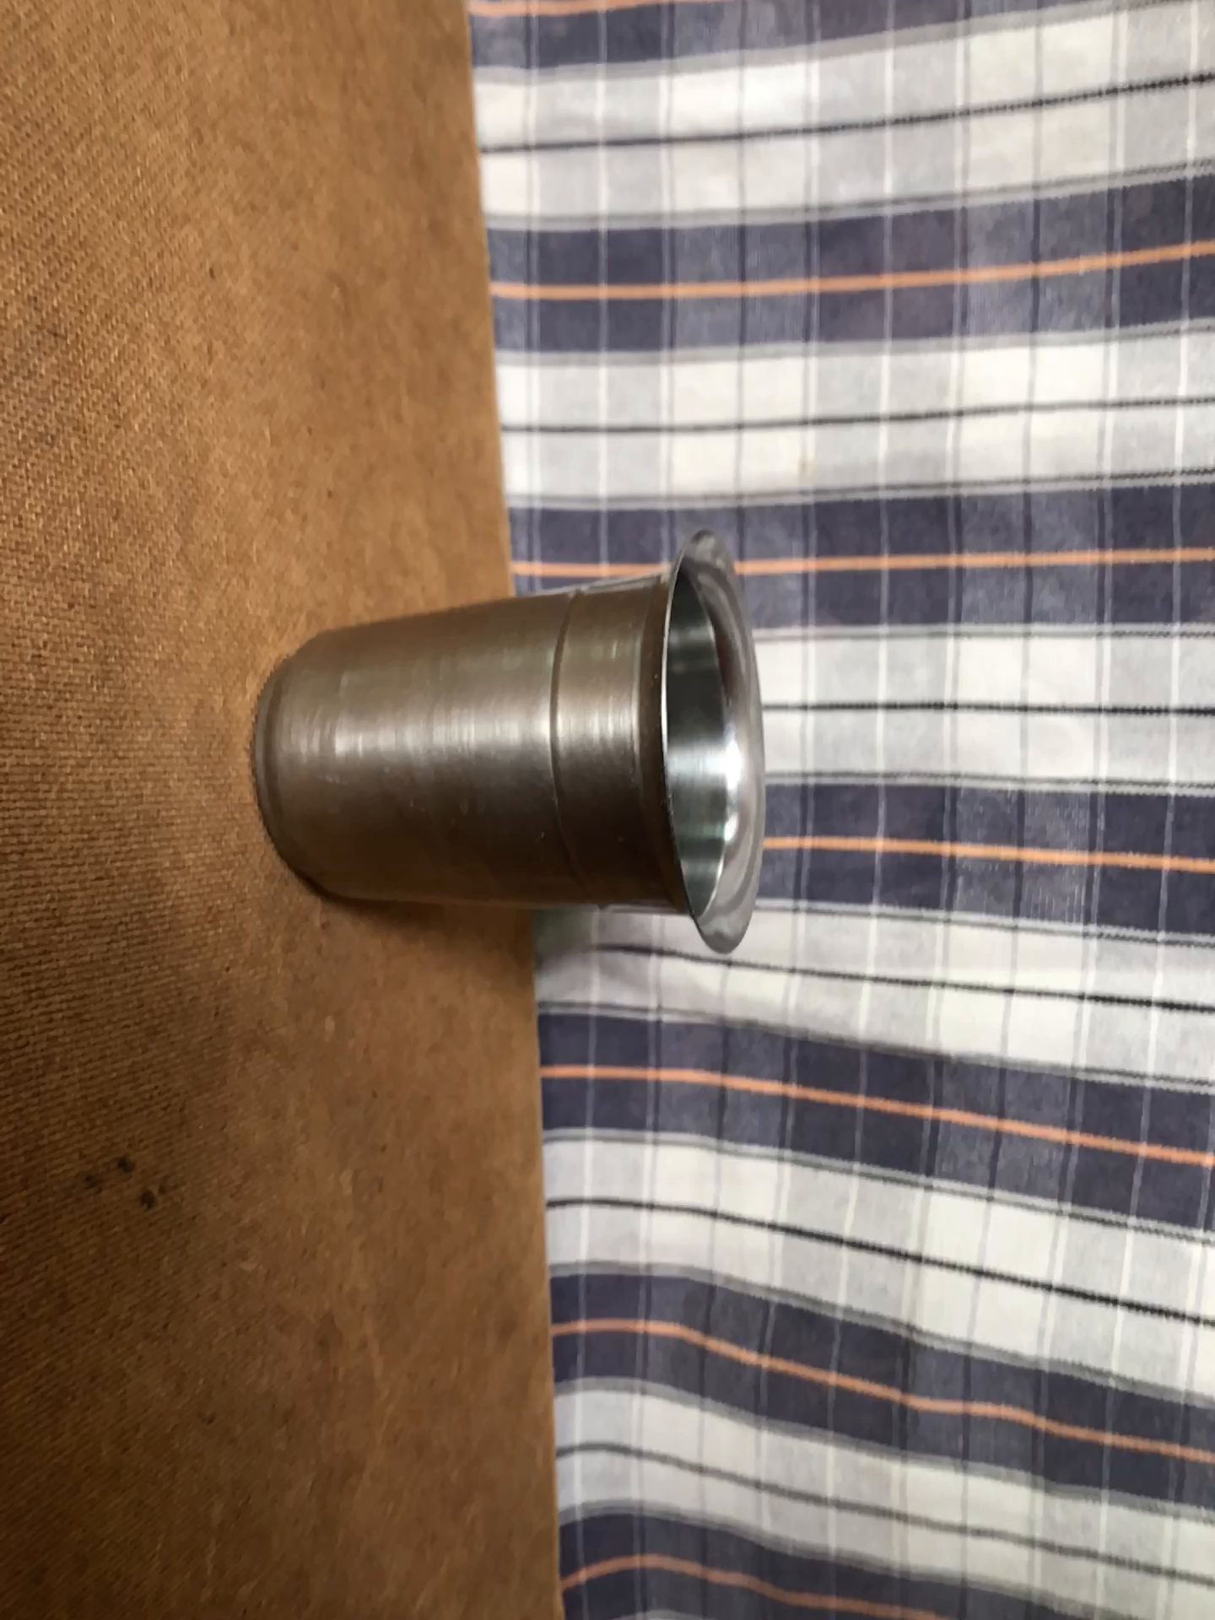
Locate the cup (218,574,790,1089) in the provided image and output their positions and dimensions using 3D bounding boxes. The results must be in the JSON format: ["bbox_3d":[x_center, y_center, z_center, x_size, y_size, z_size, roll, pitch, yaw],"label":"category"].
[{"bbox_3d":[-0.012,0.009,0.257,0.070,0.080,0.070,-3,90,-73],"label":"cup"}]
